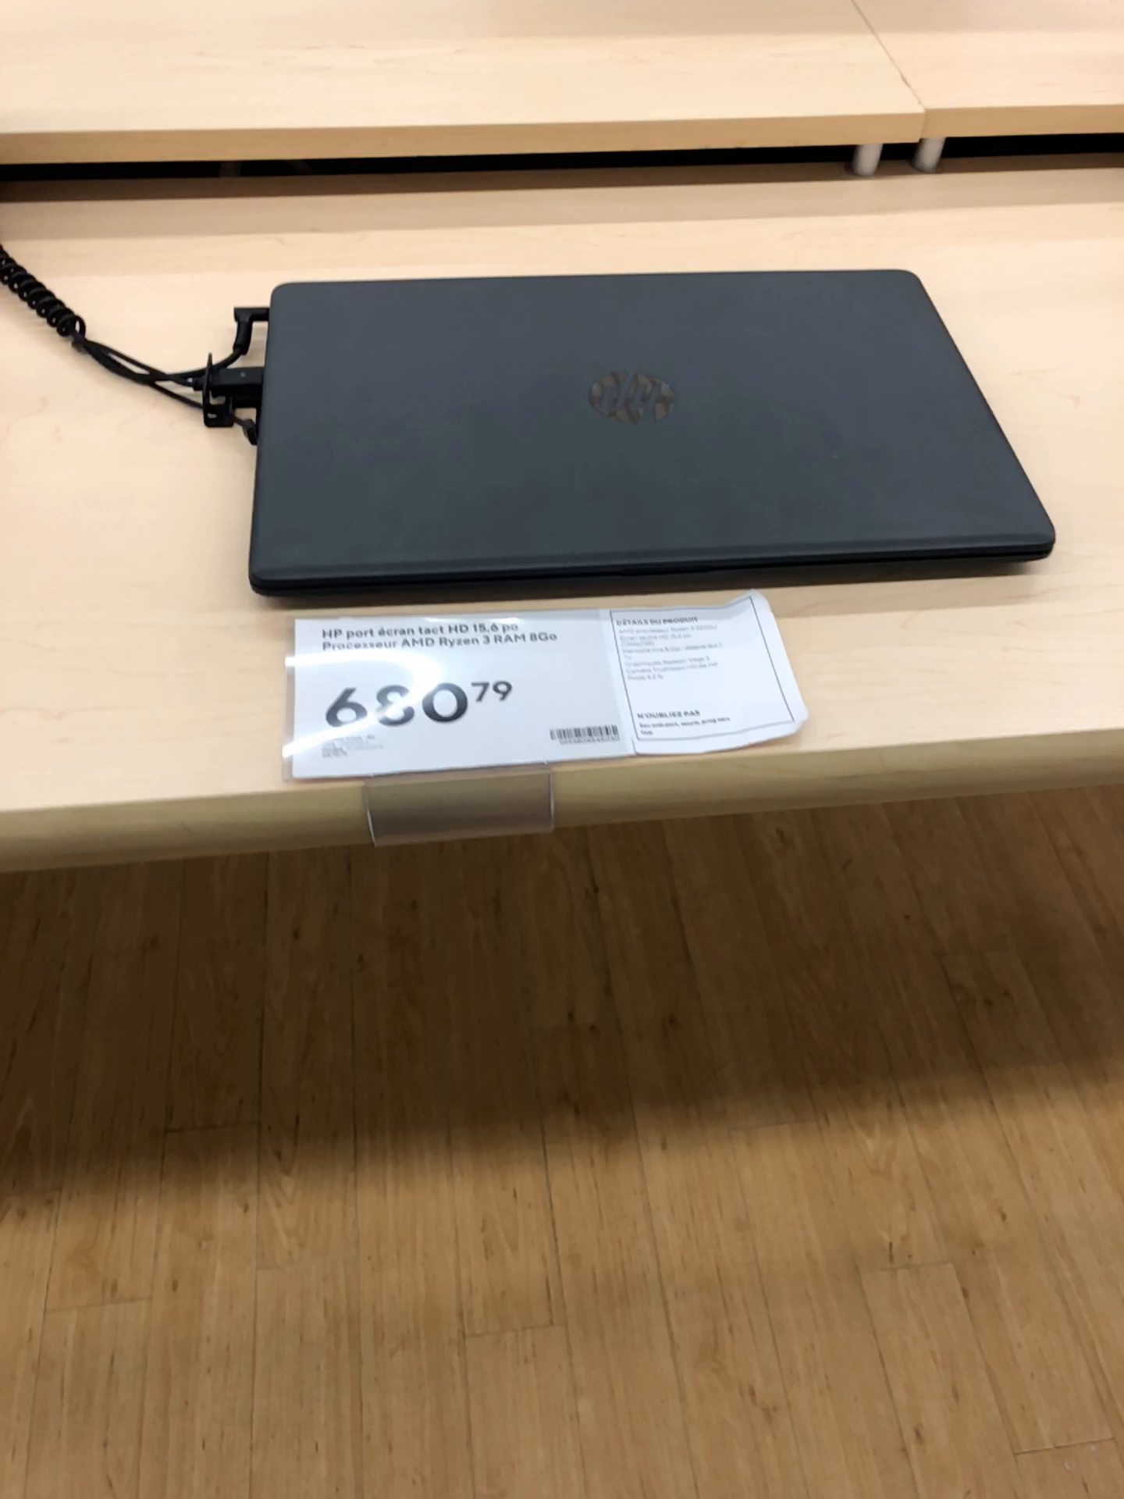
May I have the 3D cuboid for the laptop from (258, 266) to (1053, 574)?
[{"bbox_3d":[0.037,-0.186,0.654,0.373,0.005,0.245,-4,50,-6],"label":"laptop"}]
